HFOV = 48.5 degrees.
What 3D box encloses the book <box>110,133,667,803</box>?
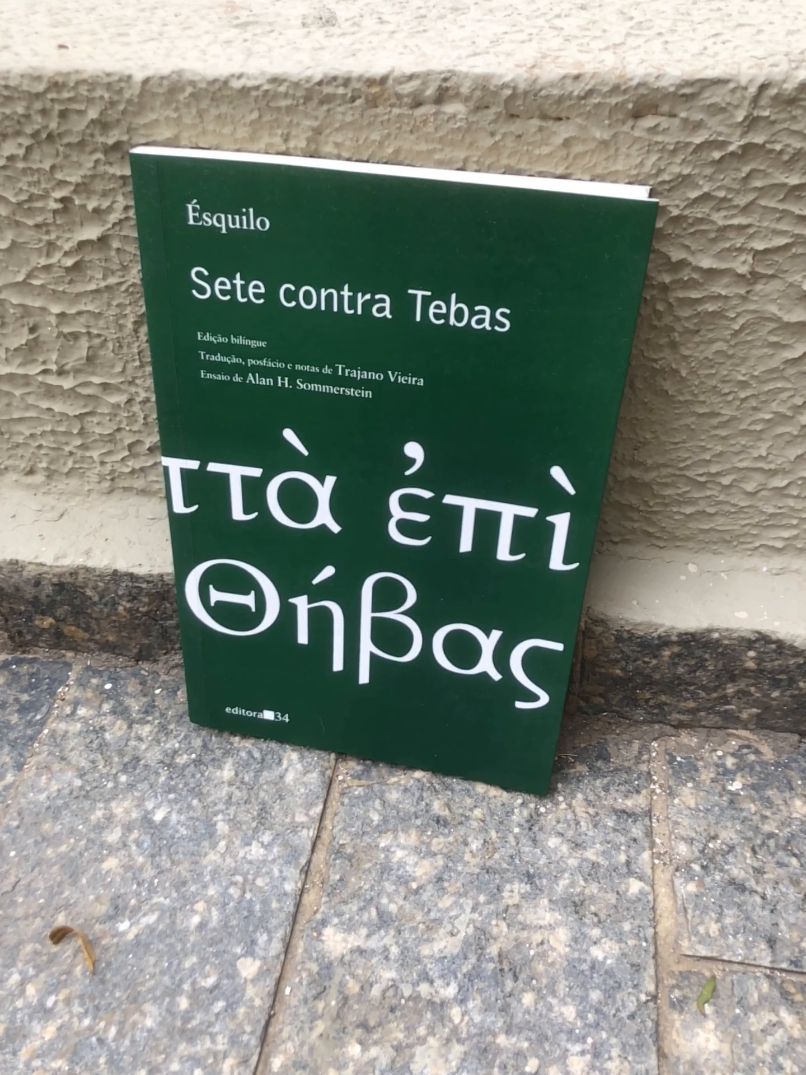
[{"bbox_3d":[-0.008,-0.012,0.272,0.140,0.195,0.020,8,30,12],"label":"book"}]
